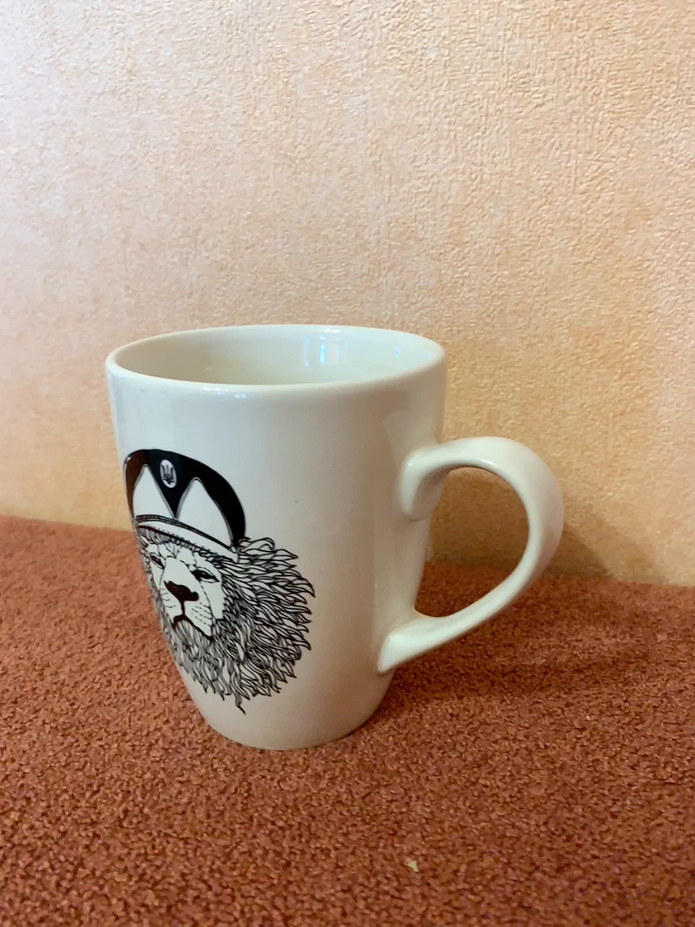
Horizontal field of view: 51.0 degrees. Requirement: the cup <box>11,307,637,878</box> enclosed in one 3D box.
[{"bbox_3d":[0.001,0.014,0.205,0.126,0.095,0.106,9,23,30],"label":"cup"}]
